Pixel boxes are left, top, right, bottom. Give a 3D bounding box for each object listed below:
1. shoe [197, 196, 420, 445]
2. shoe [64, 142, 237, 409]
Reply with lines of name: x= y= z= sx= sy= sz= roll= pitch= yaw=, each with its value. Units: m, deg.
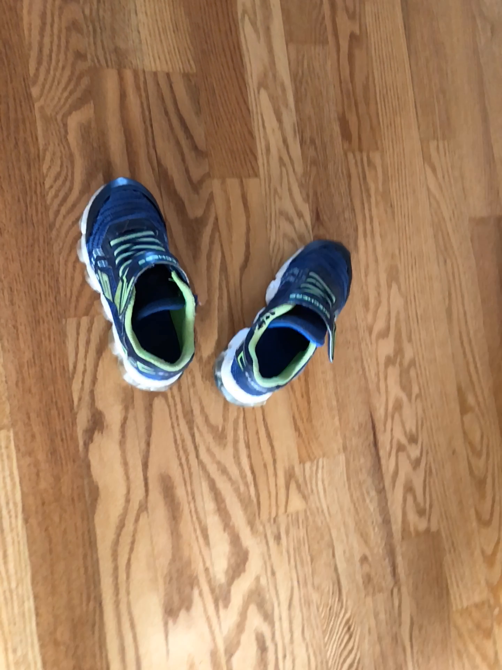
shoe: x=0.056 y=-0.014 z=0.537 sx=0.093 sy=0.087 sz=0.212 roll=39 pitch=73 yaw=-15
shoe: x=-0.092 y=-0.048 z=0.485 sx=0.093 sy=0.095 sz=0.203 roll=-12 pitch=91 yaw=-22
